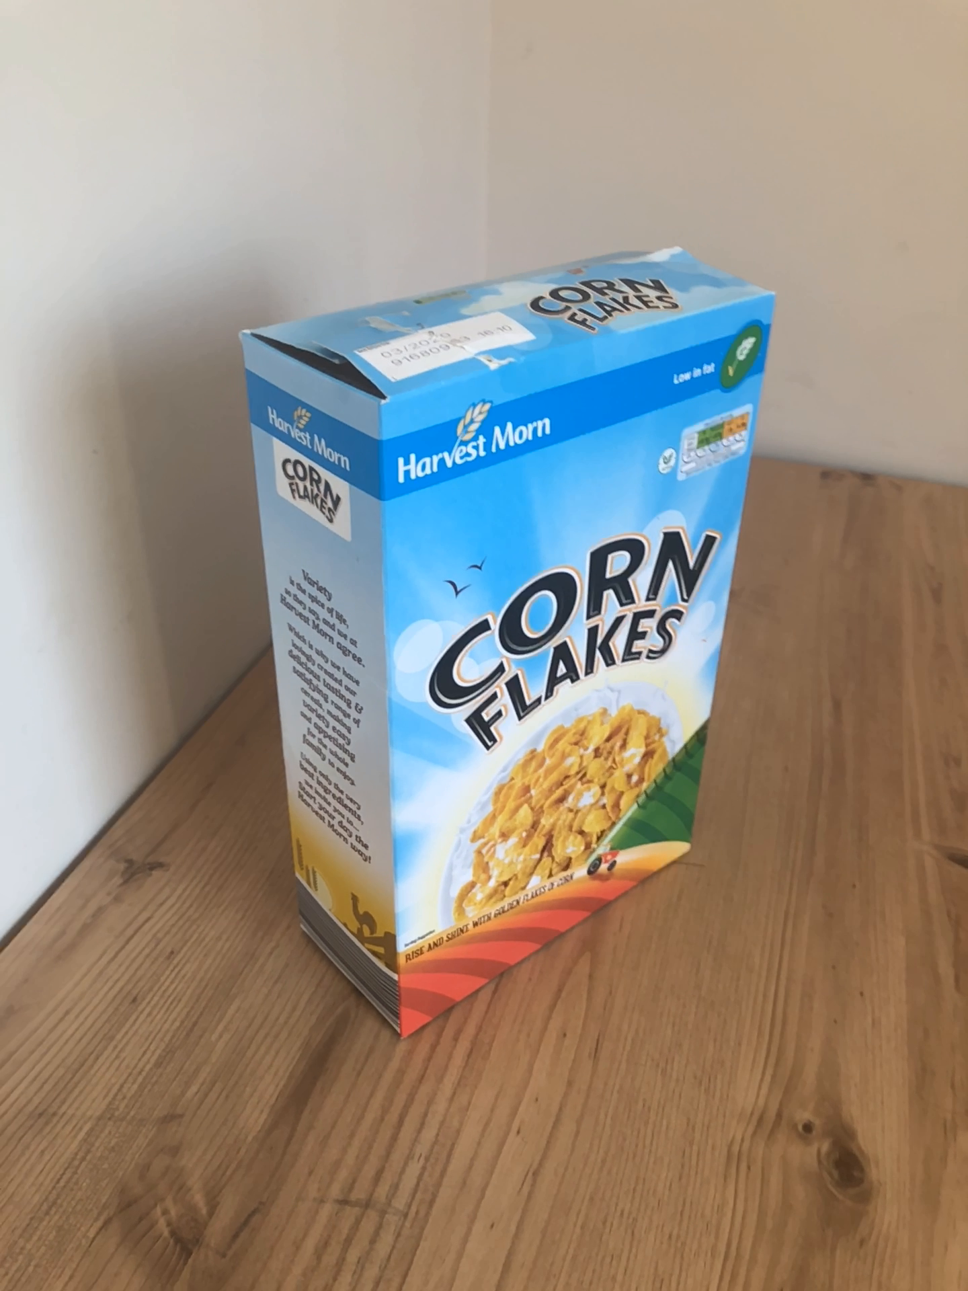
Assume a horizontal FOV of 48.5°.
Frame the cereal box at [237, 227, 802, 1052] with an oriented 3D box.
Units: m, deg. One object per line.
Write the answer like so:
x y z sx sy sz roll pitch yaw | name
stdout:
0.017 -0.001 0.470 0.201 0.308 0.080 -24 41 -33 | cereal box
